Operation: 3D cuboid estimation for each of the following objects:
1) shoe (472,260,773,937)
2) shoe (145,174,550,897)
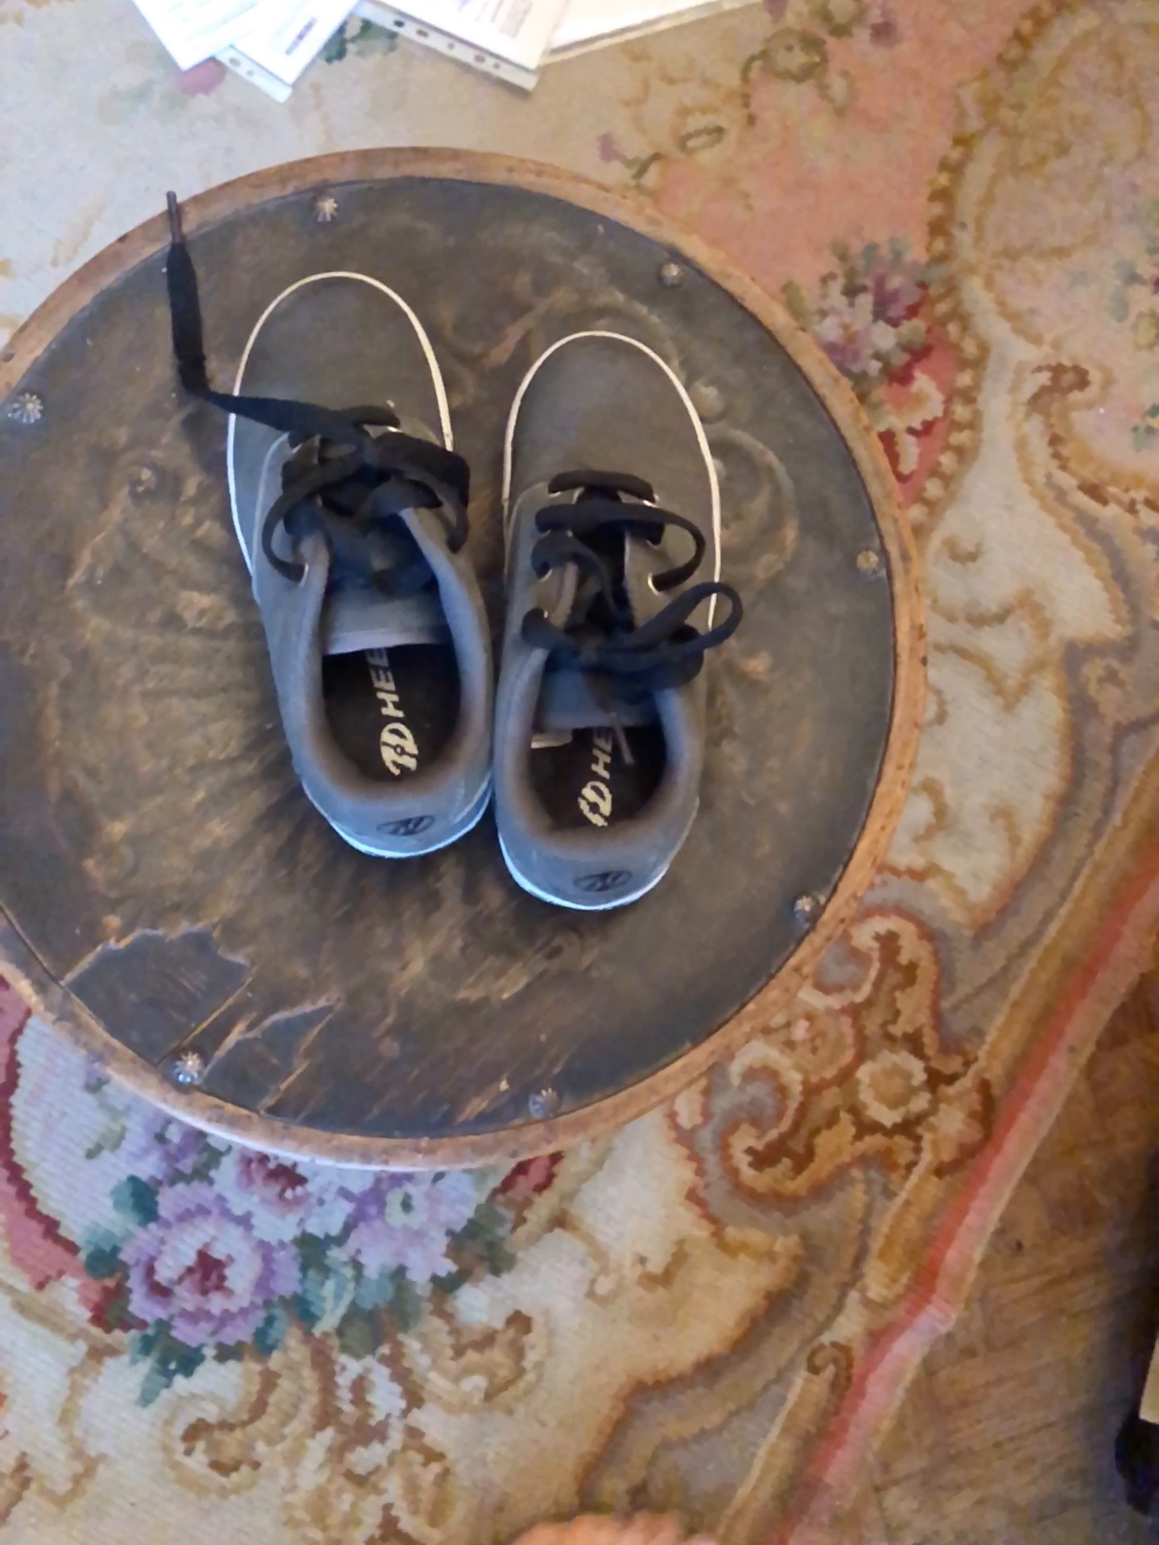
[{"bbox_3d":[0.009,-0.051,0.446,0.090,0.100,0.211,0,85,-6],"label":"shoe"},{"bbox_3d":[-0.075,-0.070,0.432,0.090,0.100,0.211,-9,86,-7],"label":"shoe"}]
